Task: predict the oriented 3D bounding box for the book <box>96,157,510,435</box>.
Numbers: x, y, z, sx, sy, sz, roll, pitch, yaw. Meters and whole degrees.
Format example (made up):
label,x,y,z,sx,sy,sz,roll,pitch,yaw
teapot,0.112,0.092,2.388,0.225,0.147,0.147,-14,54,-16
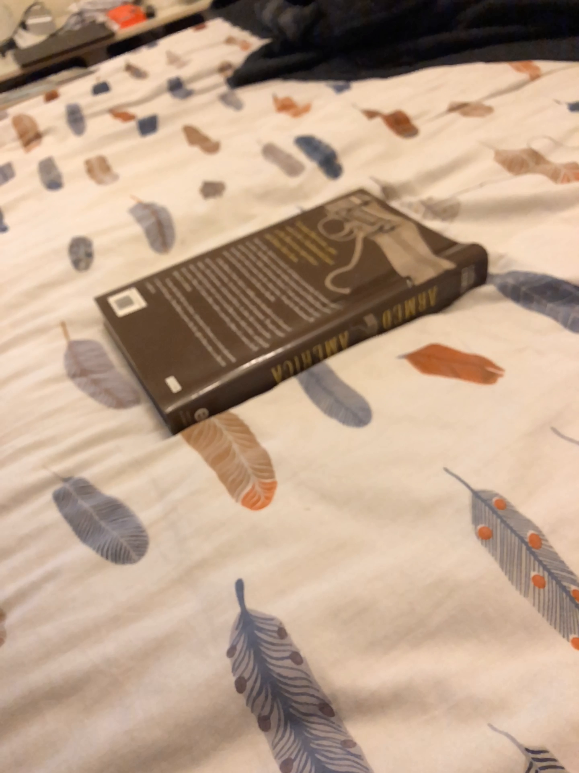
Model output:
label,x,y,z,sx,sy,sz,roll,pitch,yaw
book,0.000,-0.083,0.466,0.240,0.030,0.181,-27,41,-13
